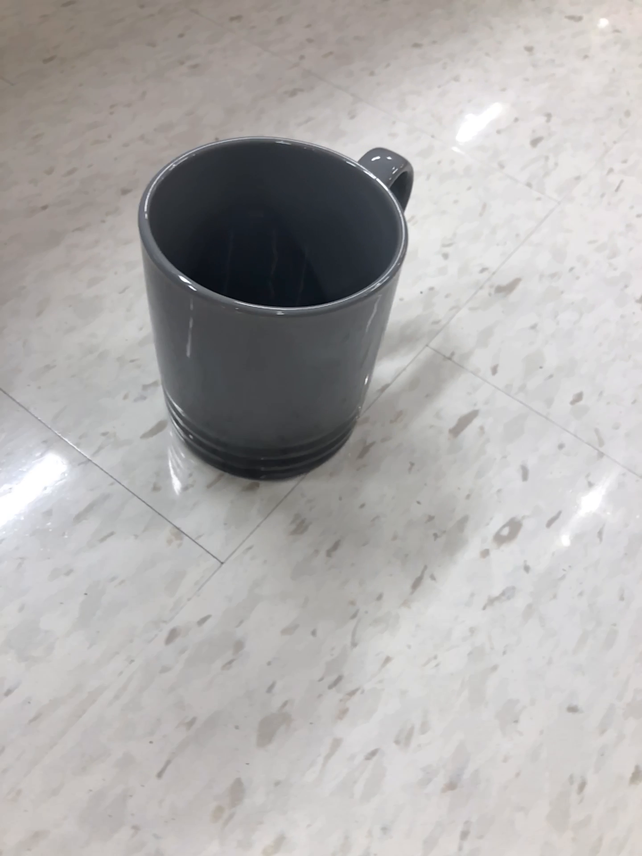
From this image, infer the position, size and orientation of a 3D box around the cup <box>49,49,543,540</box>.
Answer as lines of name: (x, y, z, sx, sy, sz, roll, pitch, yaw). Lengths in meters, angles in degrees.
cup: (-0.005, -0.058, 0.281, 0.100, 0.090, 0.151, 33, 58, 14)
